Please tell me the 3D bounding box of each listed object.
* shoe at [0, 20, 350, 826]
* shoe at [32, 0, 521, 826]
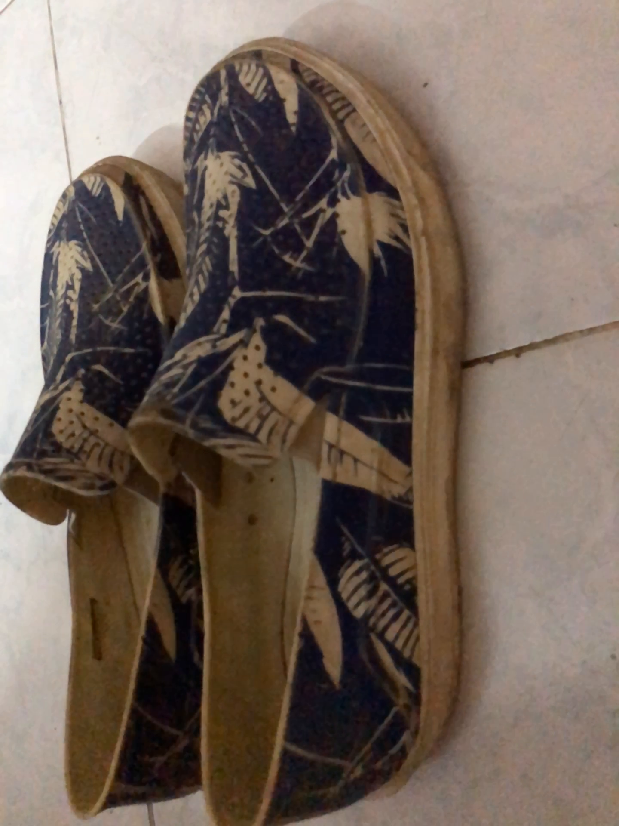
[{"bbox_3d":[-0.092,0.014,0.306,0.110,0.100,0.310,-22,77,35],"label":"shoe"},{"bbox_3d":[-0.017,-0.002,0.245,0.110,0.100,0.300,-10,84,45],"label":"shoe"}]
